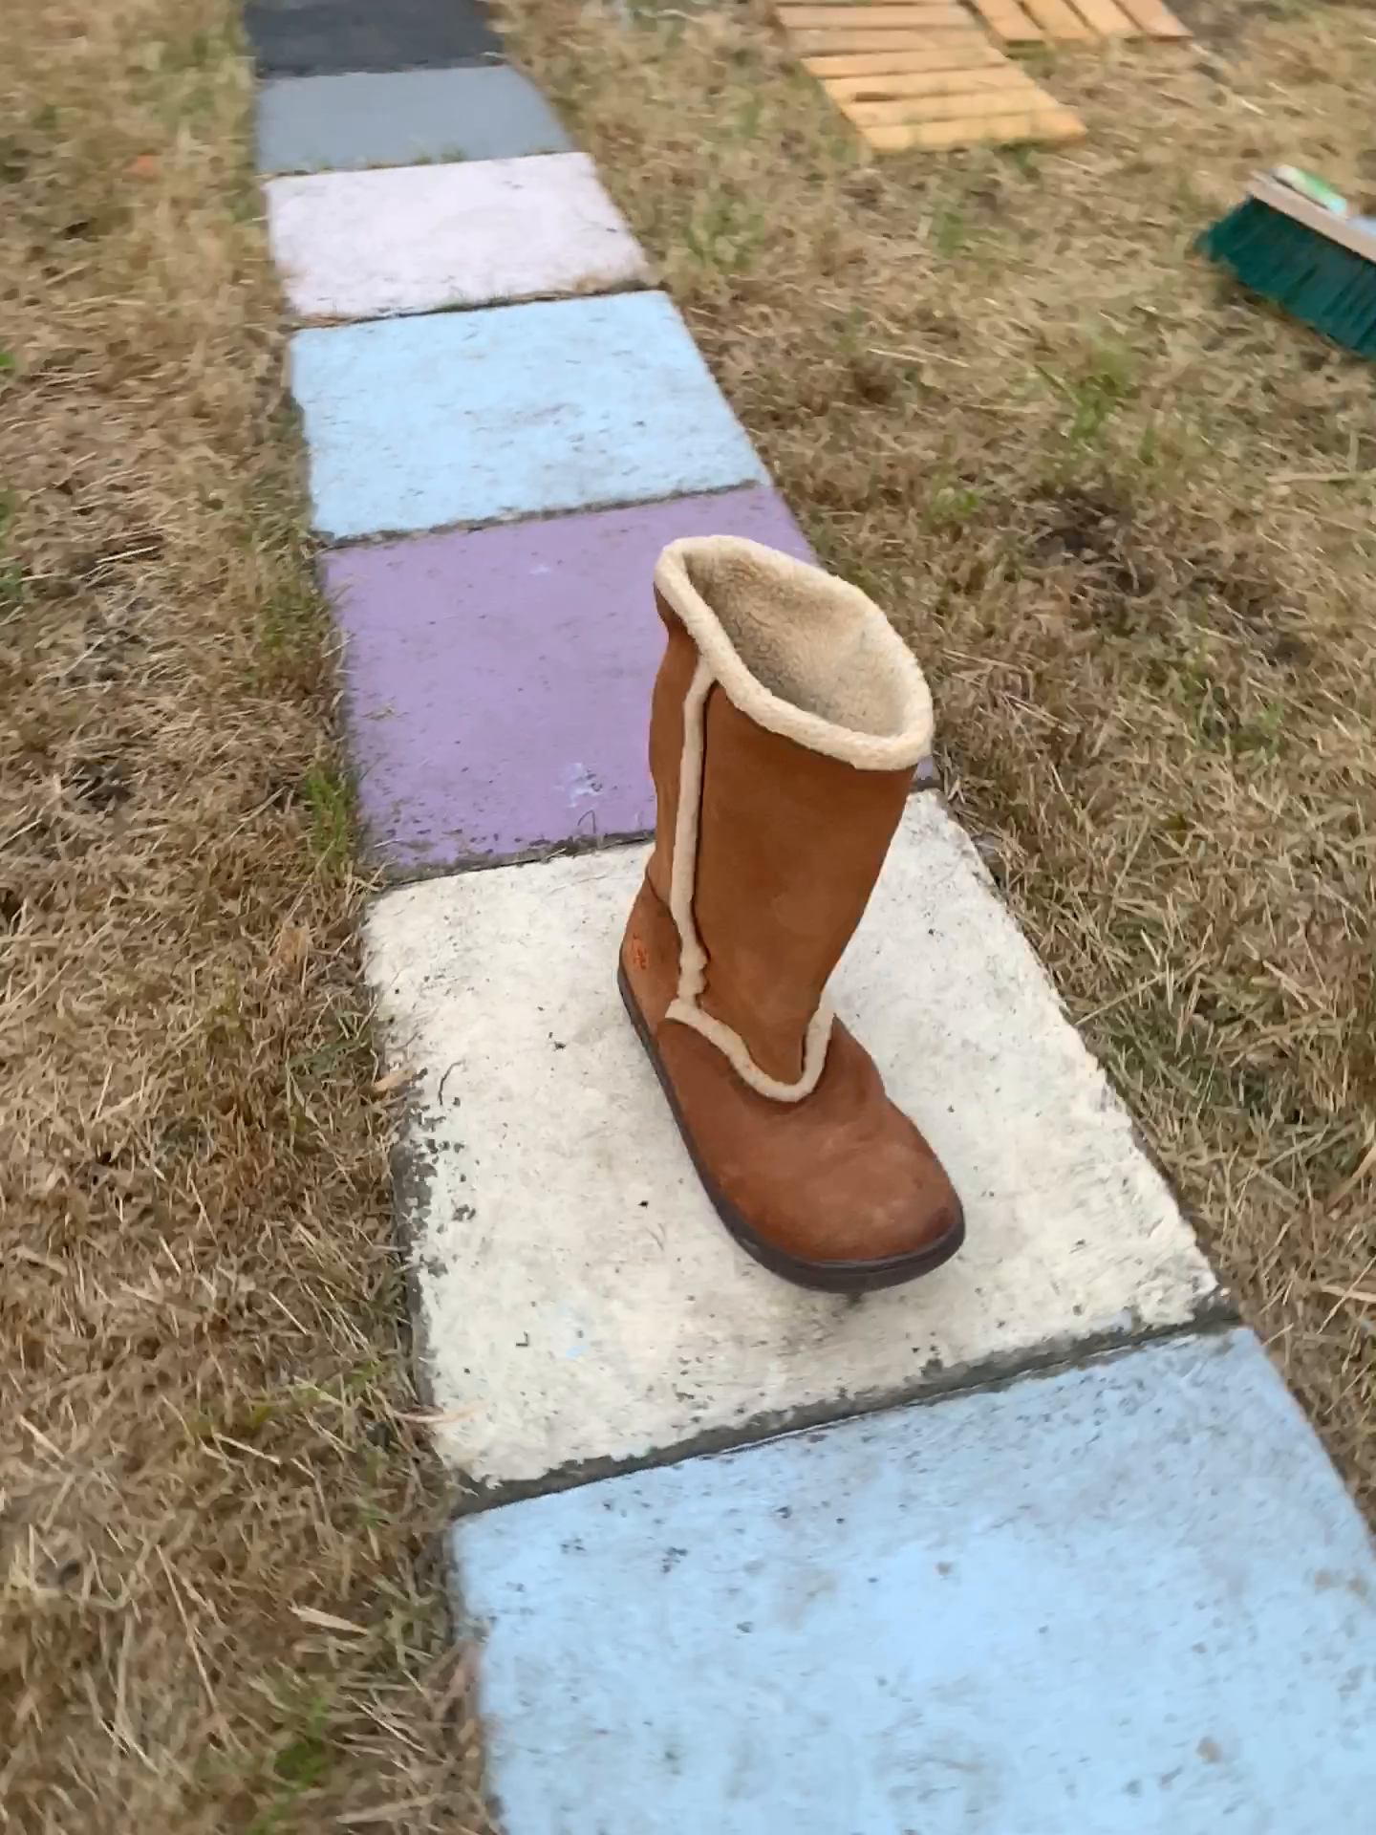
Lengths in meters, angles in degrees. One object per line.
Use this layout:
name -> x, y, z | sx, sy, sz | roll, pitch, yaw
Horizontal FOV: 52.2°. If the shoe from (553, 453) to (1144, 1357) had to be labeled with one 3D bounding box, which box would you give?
shoe -> 0.043, -0.004, 0.640 | 0.110, 0.297, 0.262 | -17, 48, -18
